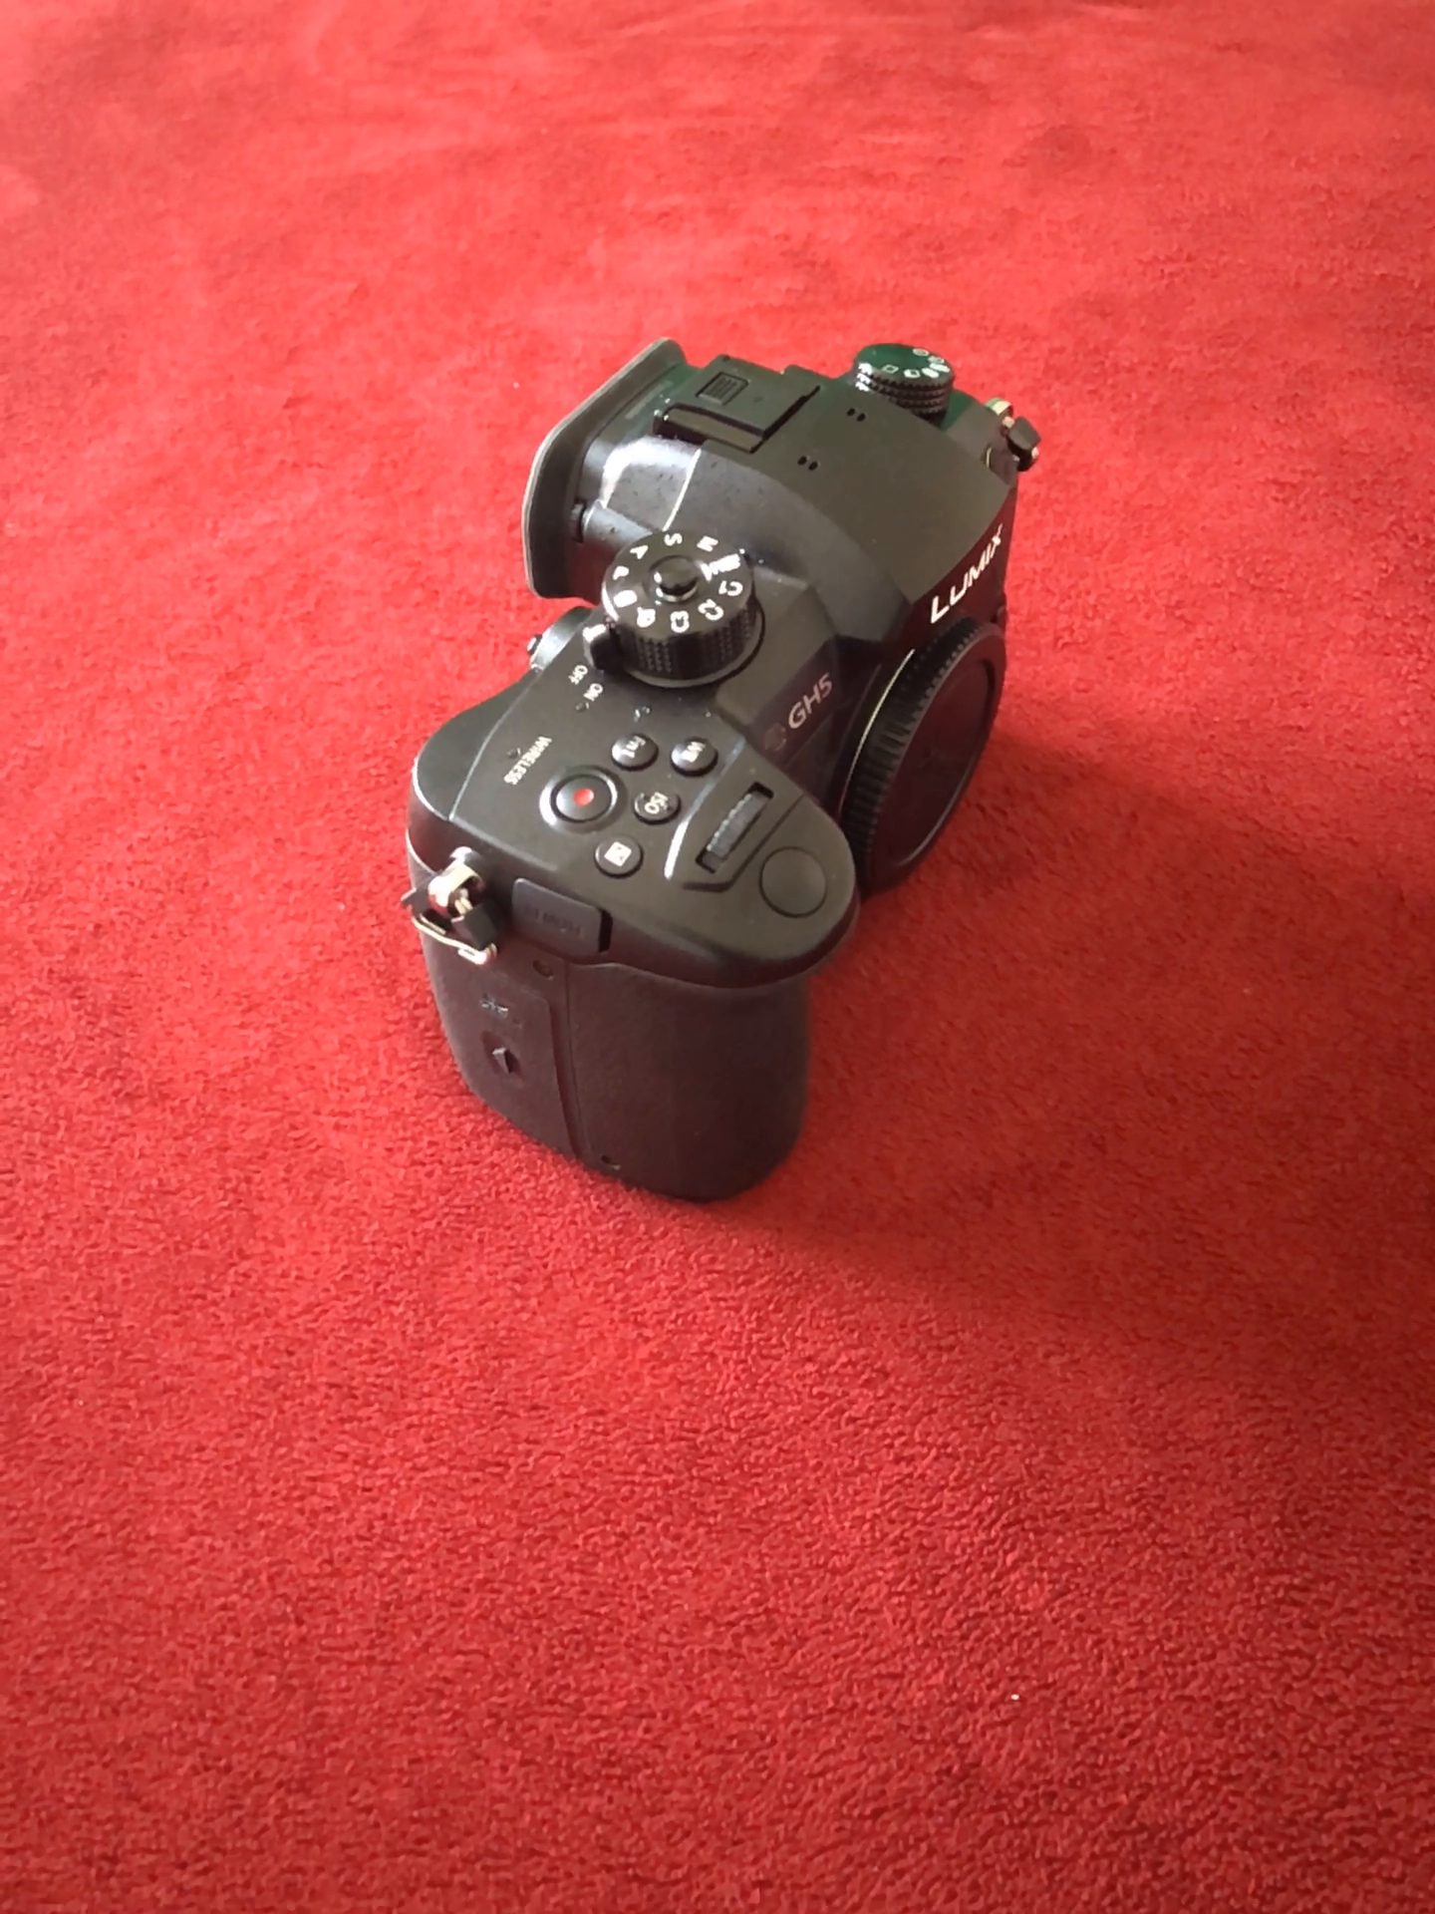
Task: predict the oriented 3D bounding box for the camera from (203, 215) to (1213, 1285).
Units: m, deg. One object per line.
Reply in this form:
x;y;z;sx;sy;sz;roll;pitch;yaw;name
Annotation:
0.006;-0.041;0.275;0.085;0.087;0.148;27;57;19;camera
